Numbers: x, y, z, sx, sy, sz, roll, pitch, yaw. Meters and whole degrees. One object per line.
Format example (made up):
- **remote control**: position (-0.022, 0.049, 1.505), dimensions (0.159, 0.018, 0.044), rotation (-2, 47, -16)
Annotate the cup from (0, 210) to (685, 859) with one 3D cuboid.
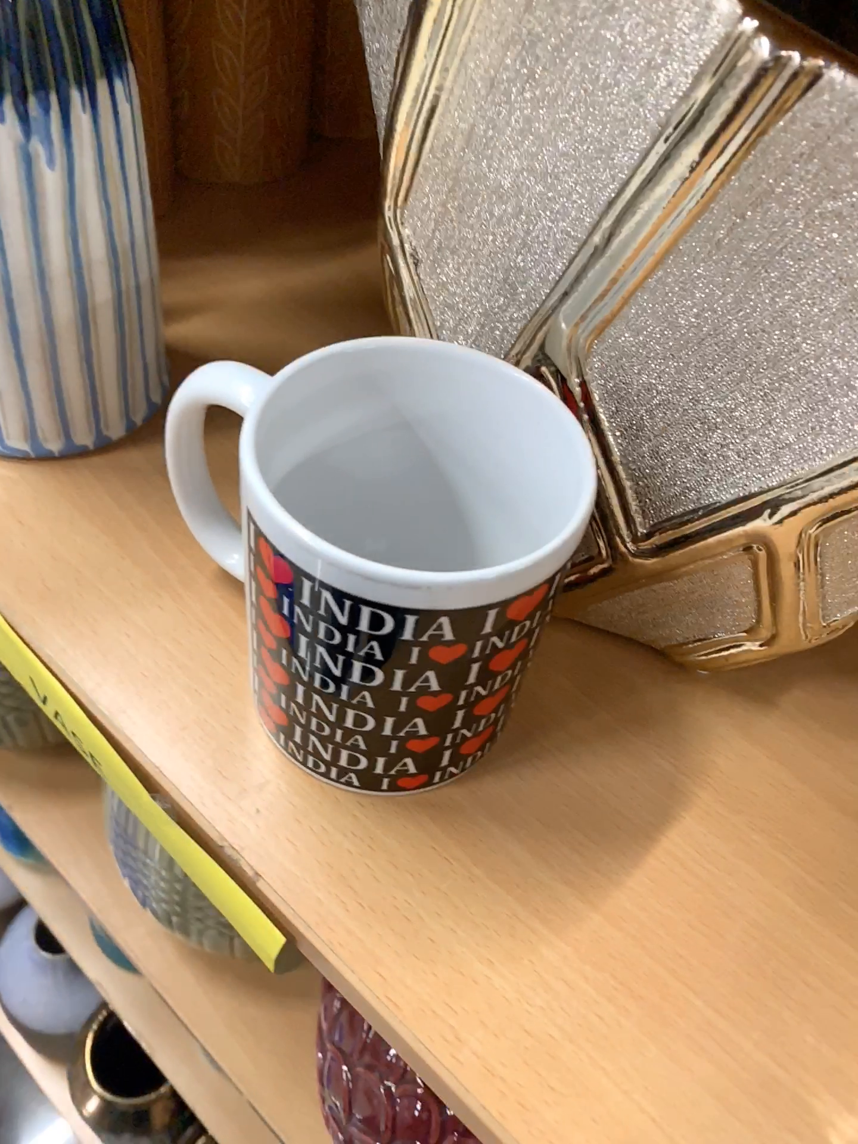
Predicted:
- **cup**: position (-0.022, -0.014, 0.234), dimensions (0.130, 0.090, 0.090), rotation (28, 49, 13)
